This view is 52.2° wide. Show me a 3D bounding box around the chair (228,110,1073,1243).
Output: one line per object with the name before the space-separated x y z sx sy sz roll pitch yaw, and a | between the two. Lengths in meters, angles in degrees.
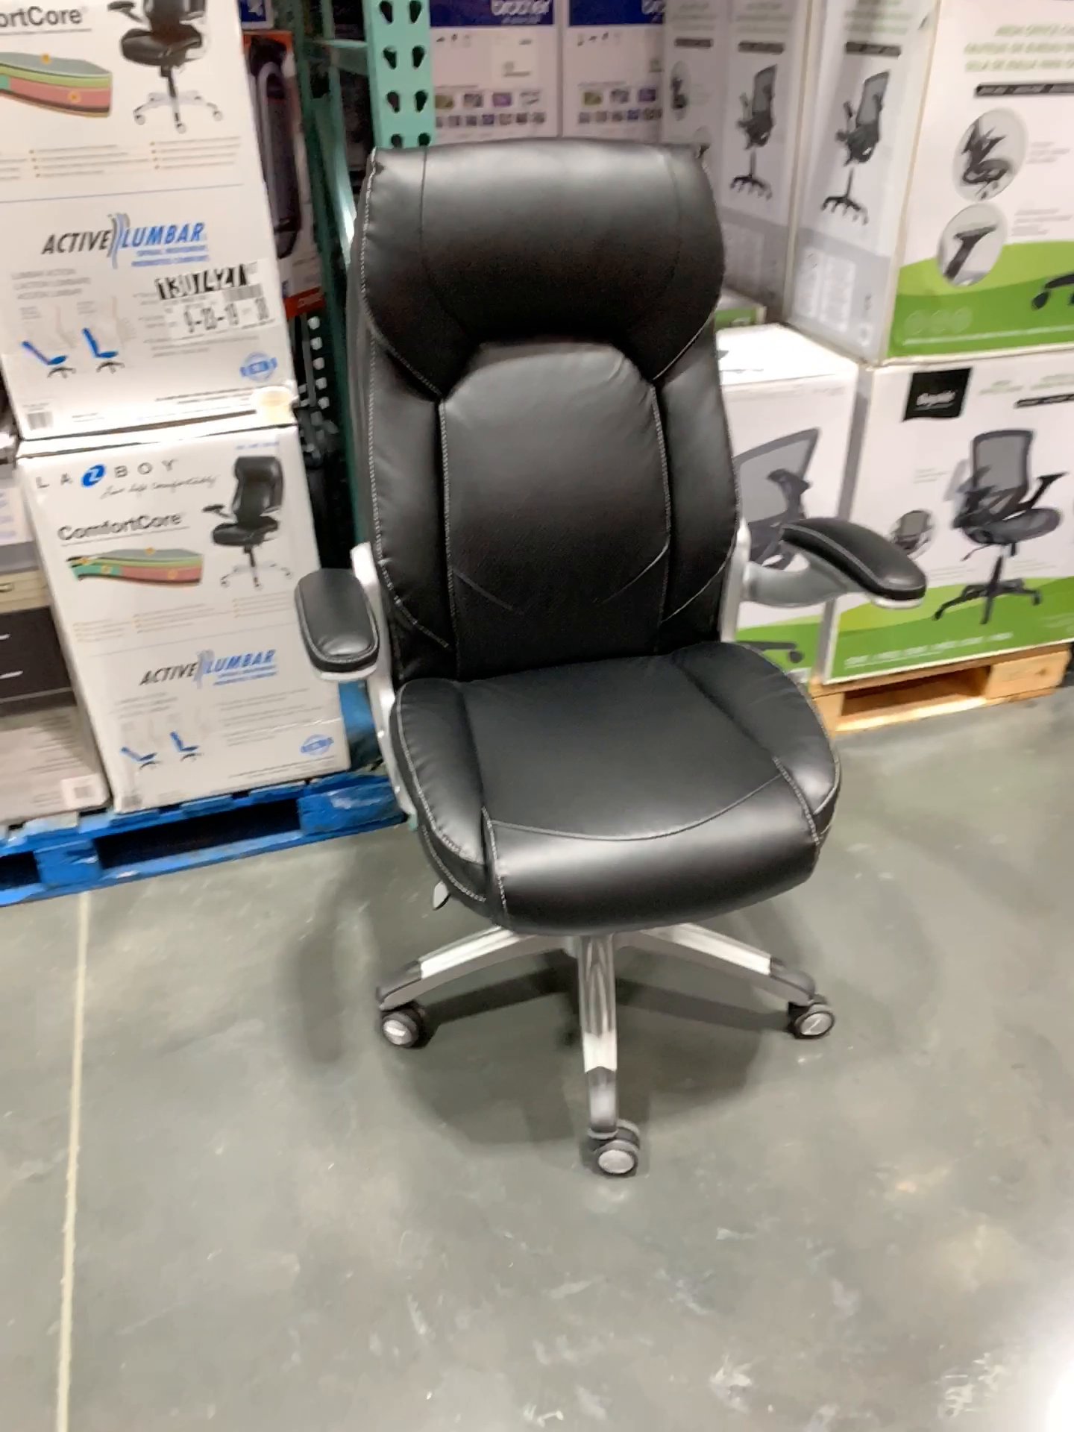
chair | 0.081 -0.077 1.373 0.728 1.128 0.708 -8 33 -11
